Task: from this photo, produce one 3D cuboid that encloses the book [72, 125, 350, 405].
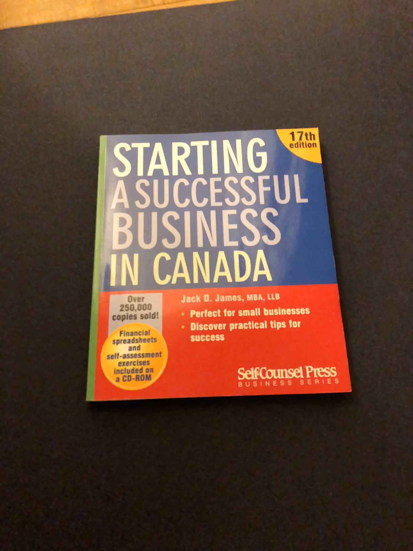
[{"bbox_3d":[0.001,-0.016,0.403,0.210,0.040,0.247,-1,70,0],"label":"book"}]
